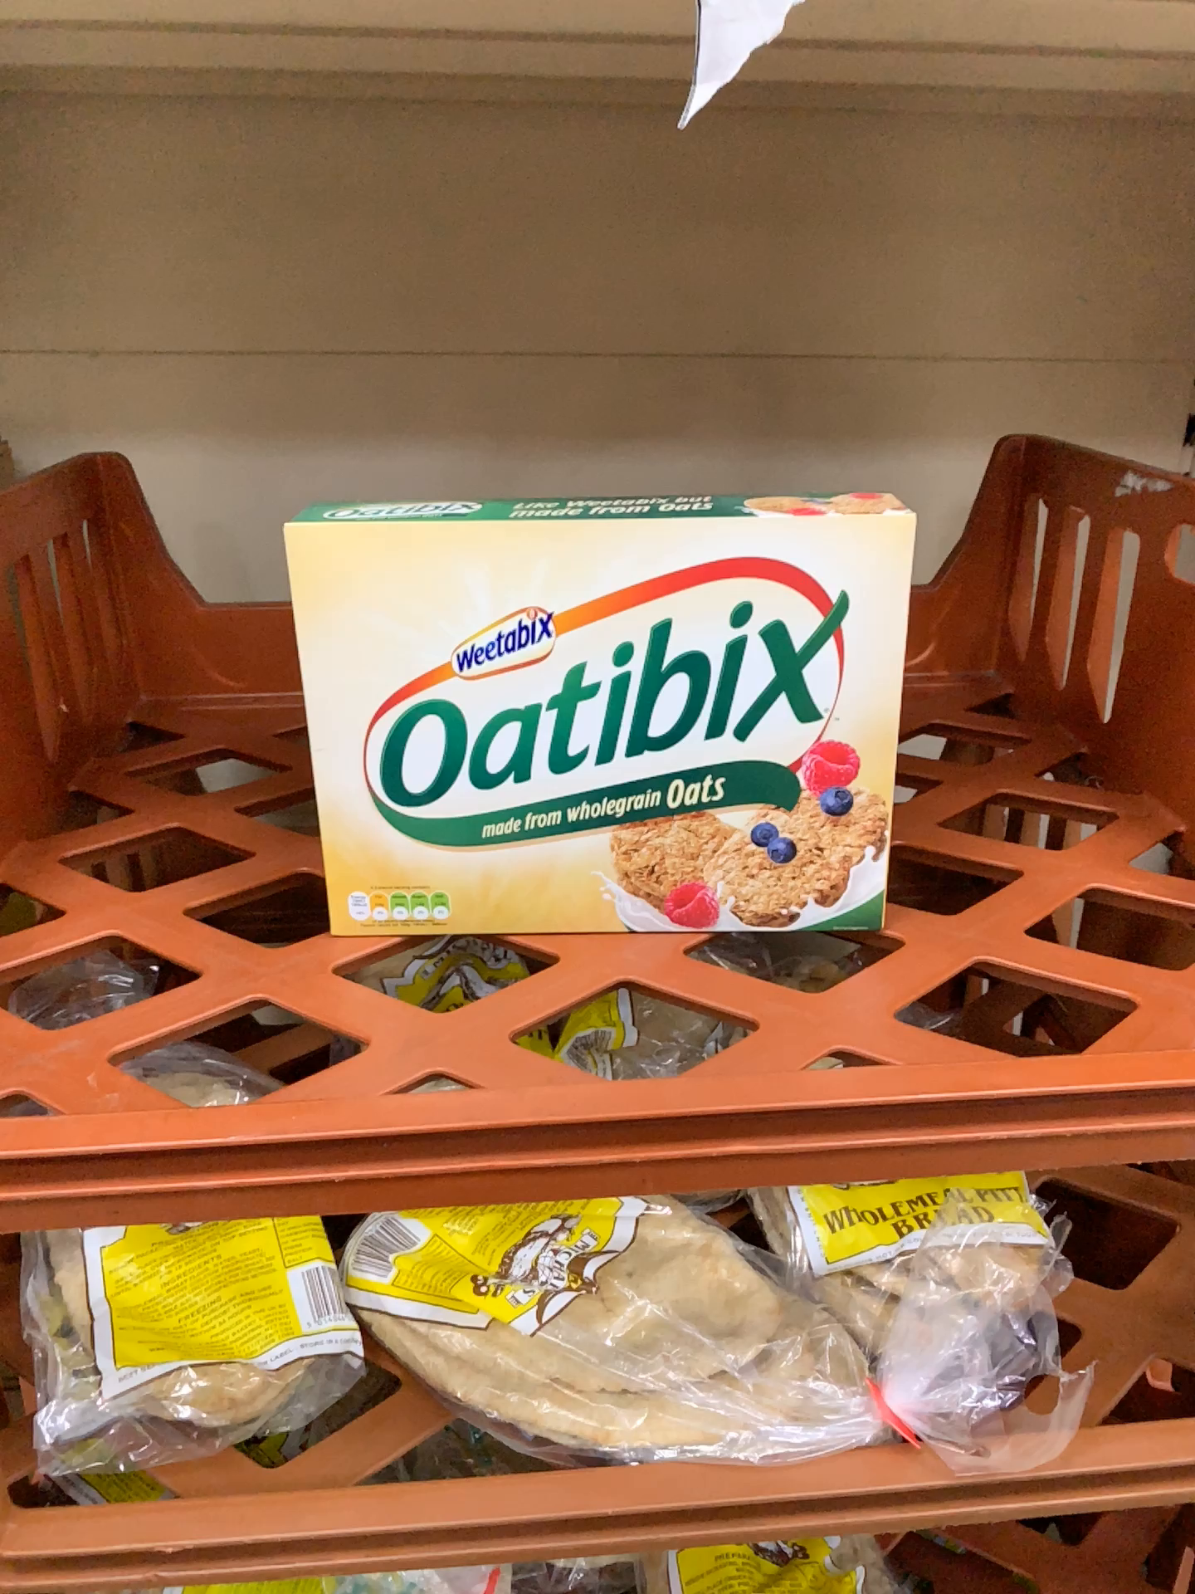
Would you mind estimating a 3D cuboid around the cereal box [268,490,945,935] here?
[{"bbox_3d":[0.004,-0.037,0.536,0.260,0.179,0.071,0,21,0],"label":"cereal box"}]
